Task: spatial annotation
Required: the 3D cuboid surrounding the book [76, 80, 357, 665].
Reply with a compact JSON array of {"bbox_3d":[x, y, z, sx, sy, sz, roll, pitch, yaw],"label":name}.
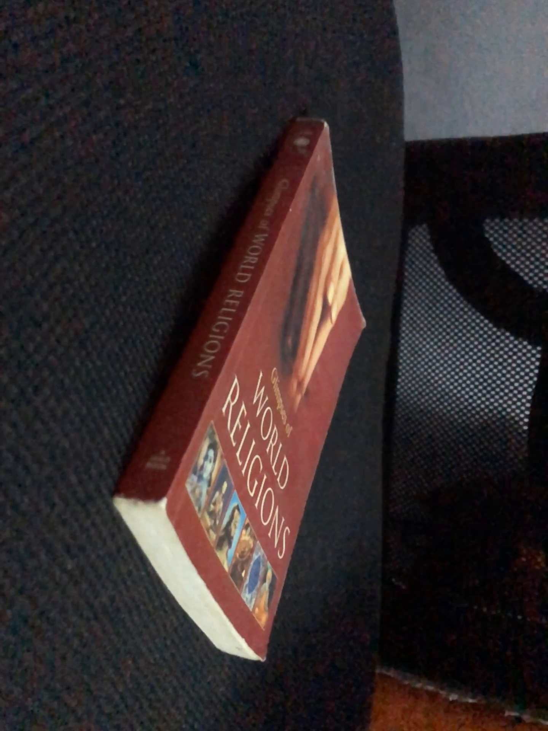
[{"bbox_3d":[0.001,-0.003,0.255,0.140,0.020,0.200,76,26,-47],"label":"book"}]
